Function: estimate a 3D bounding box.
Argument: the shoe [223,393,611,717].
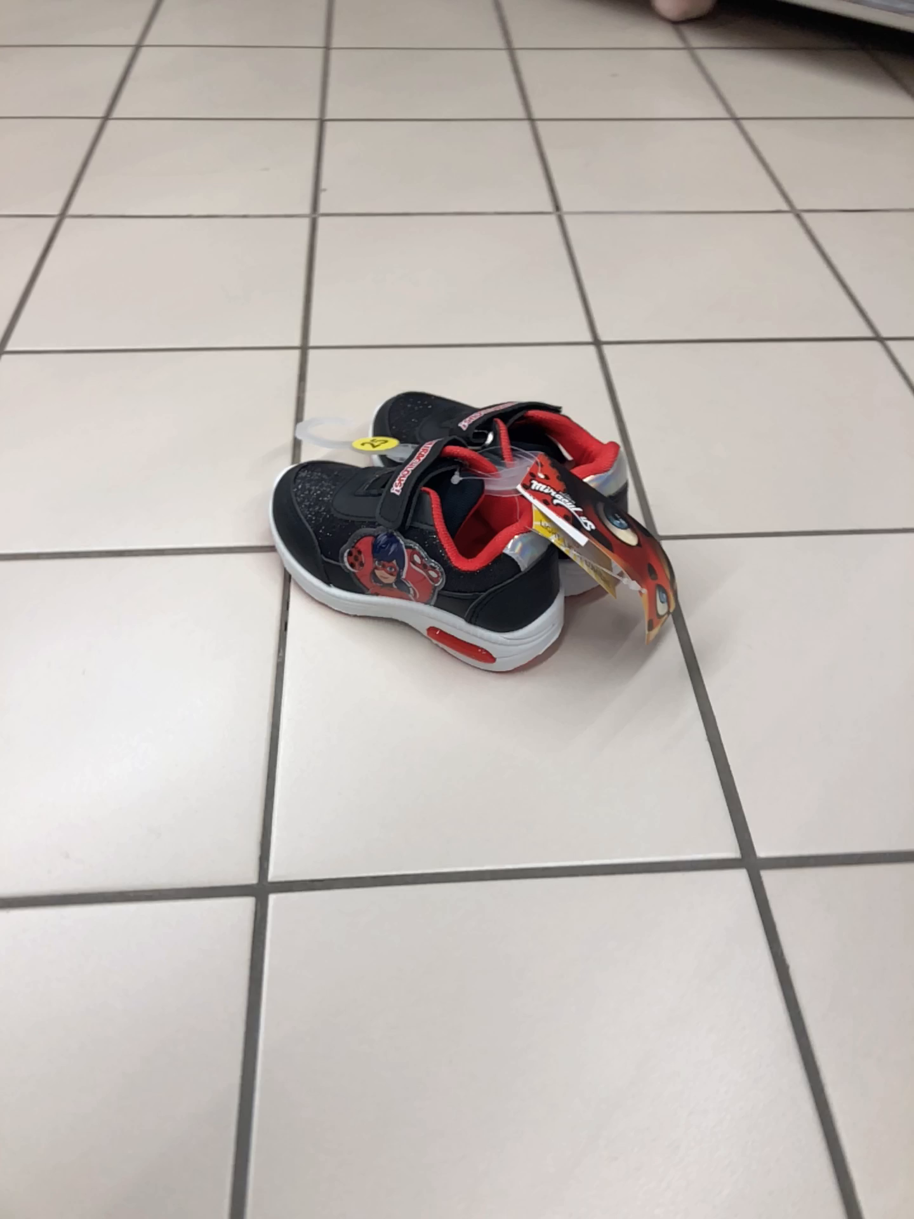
[{"bbox_3d":[-0.021,-0.032,0.495,0.167,0.071,0.077,26,50,22],"label":"shoe"}]

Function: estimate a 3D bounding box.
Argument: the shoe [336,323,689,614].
[{"bbox_3d":[0.026,-0.080,0.536,0.166,0.069,0.076,28,51,23],"label":"shoe"}]
